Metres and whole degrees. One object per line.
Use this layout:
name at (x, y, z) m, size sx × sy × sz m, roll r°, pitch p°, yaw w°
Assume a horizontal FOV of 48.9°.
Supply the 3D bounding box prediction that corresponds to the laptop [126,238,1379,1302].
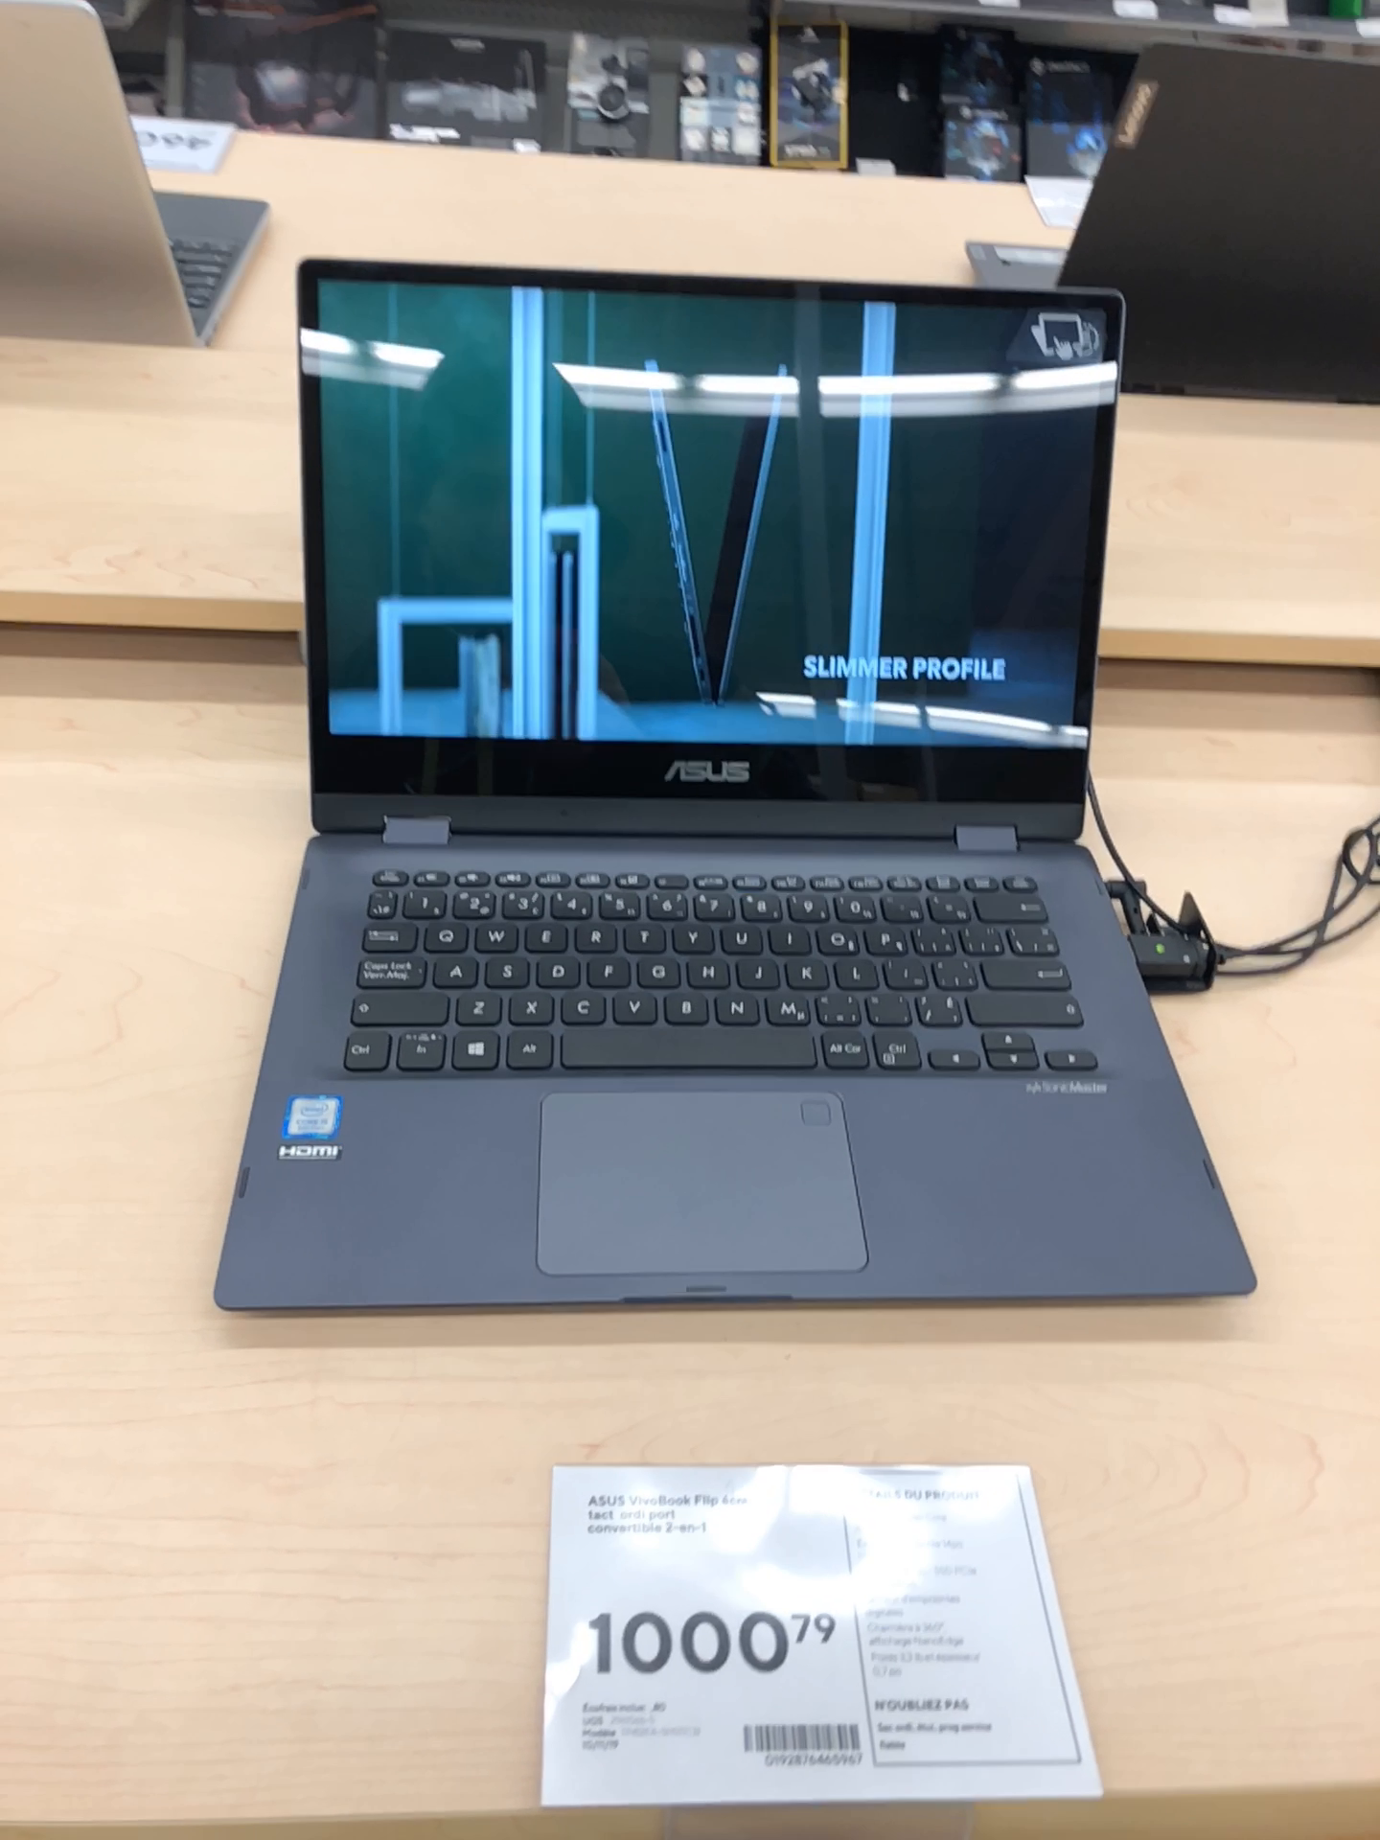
laptop at (0.014, -0.067, 0.531) m, size 0.319 × 0.184 × 0.332 m, roll 1°, pitch 45°, yaw -5°
